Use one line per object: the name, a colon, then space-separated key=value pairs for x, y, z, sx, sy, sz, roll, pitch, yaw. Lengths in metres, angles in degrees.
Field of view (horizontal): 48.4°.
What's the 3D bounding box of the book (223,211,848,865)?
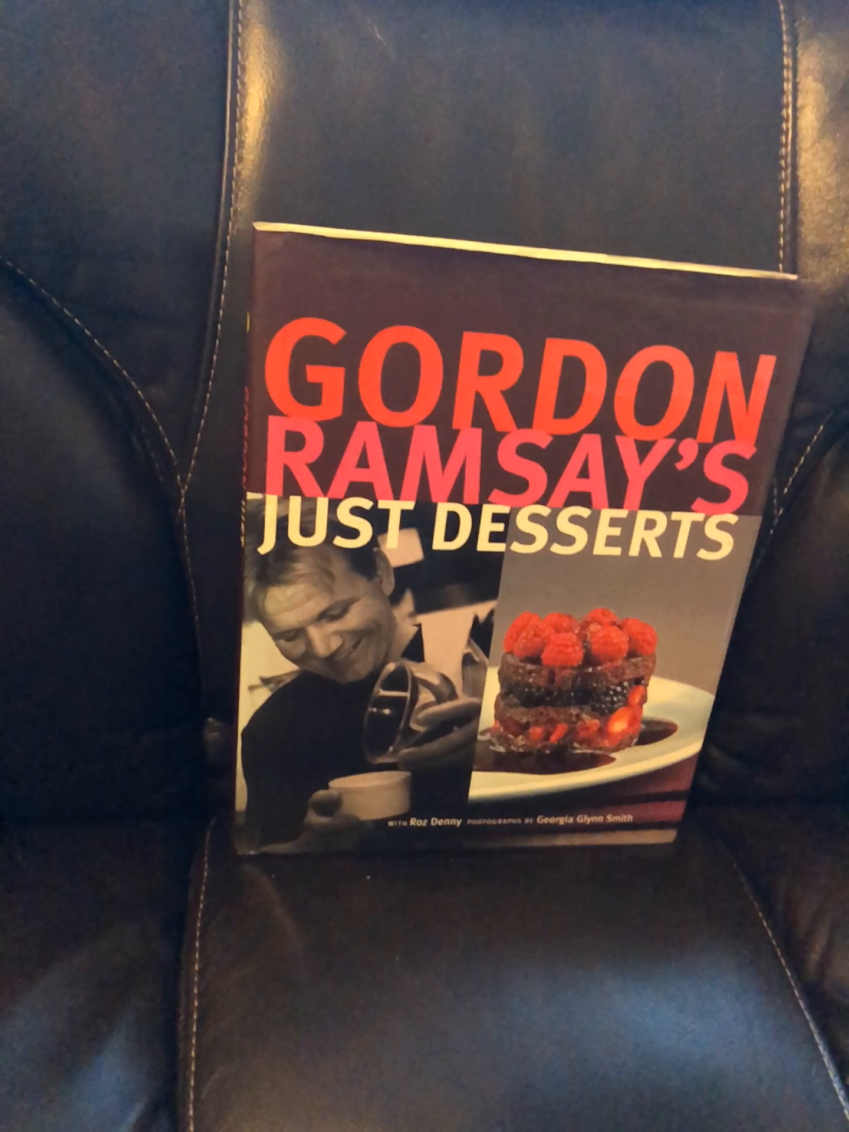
book: x=0.030 y=0.010 z=0.420 sx=0.230 sy=0.293 sz=0.030 roll=2 pitch=28 yaw=-10
